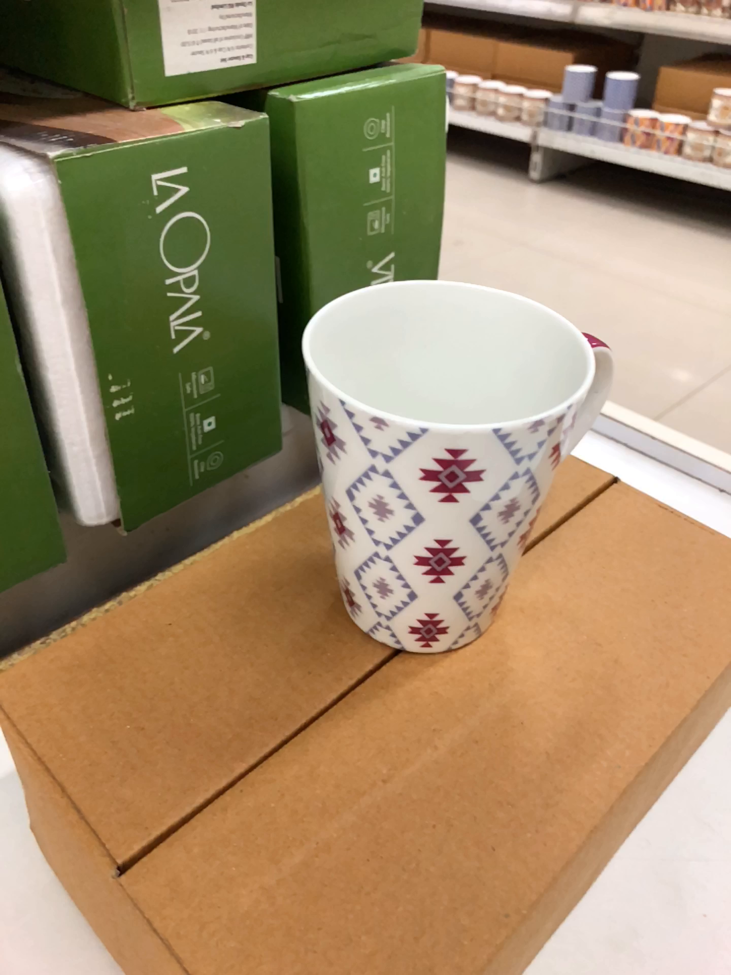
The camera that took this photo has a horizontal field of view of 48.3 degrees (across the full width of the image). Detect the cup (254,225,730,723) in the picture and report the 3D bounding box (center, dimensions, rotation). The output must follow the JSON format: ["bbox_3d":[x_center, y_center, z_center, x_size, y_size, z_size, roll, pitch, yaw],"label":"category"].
[{"bbox_3d":[0.040,-0.012,0.261,0.121,0.099,0.080,-22,43,-29],"label":"cup"}]
